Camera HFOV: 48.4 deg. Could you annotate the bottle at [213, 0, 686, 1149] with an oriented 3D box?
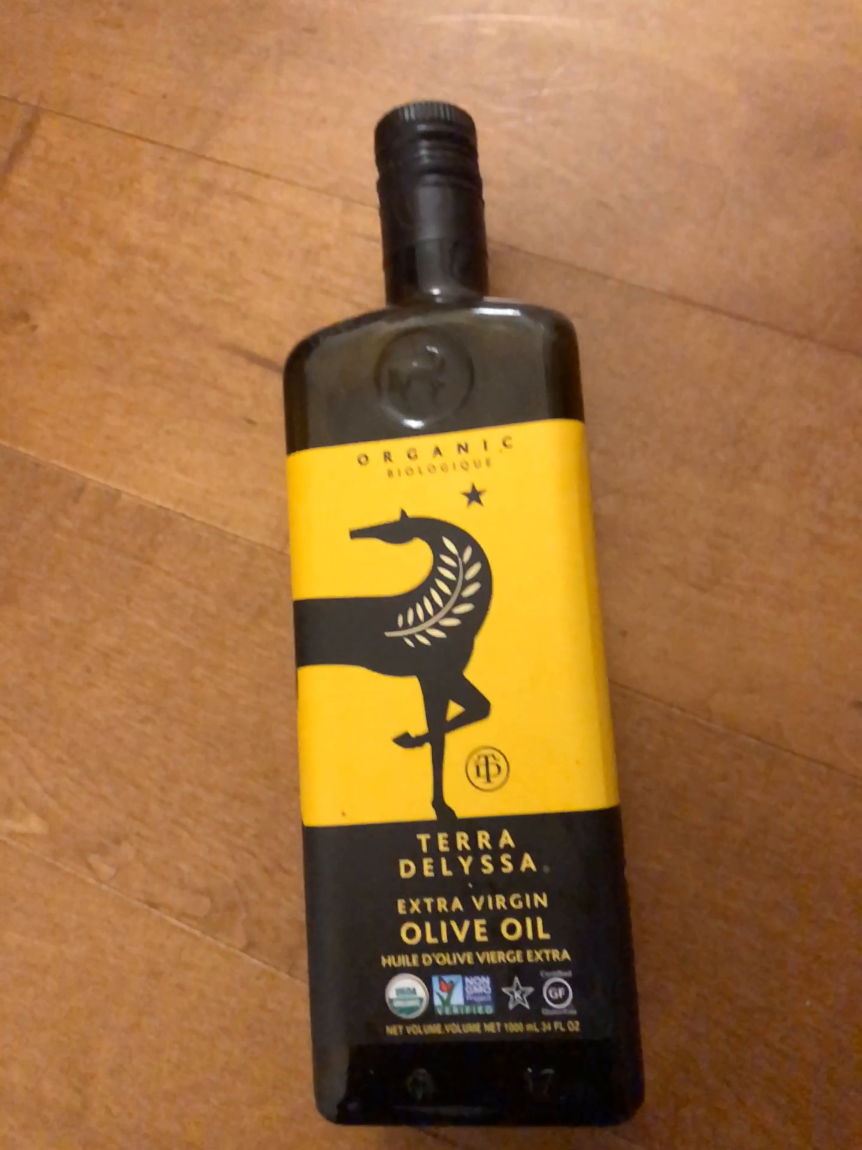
[{"bbox_3d":[0.003,-0.003,0.253,0.090,0.060,0.270,-6,82,10],"label":"bottle"}]
